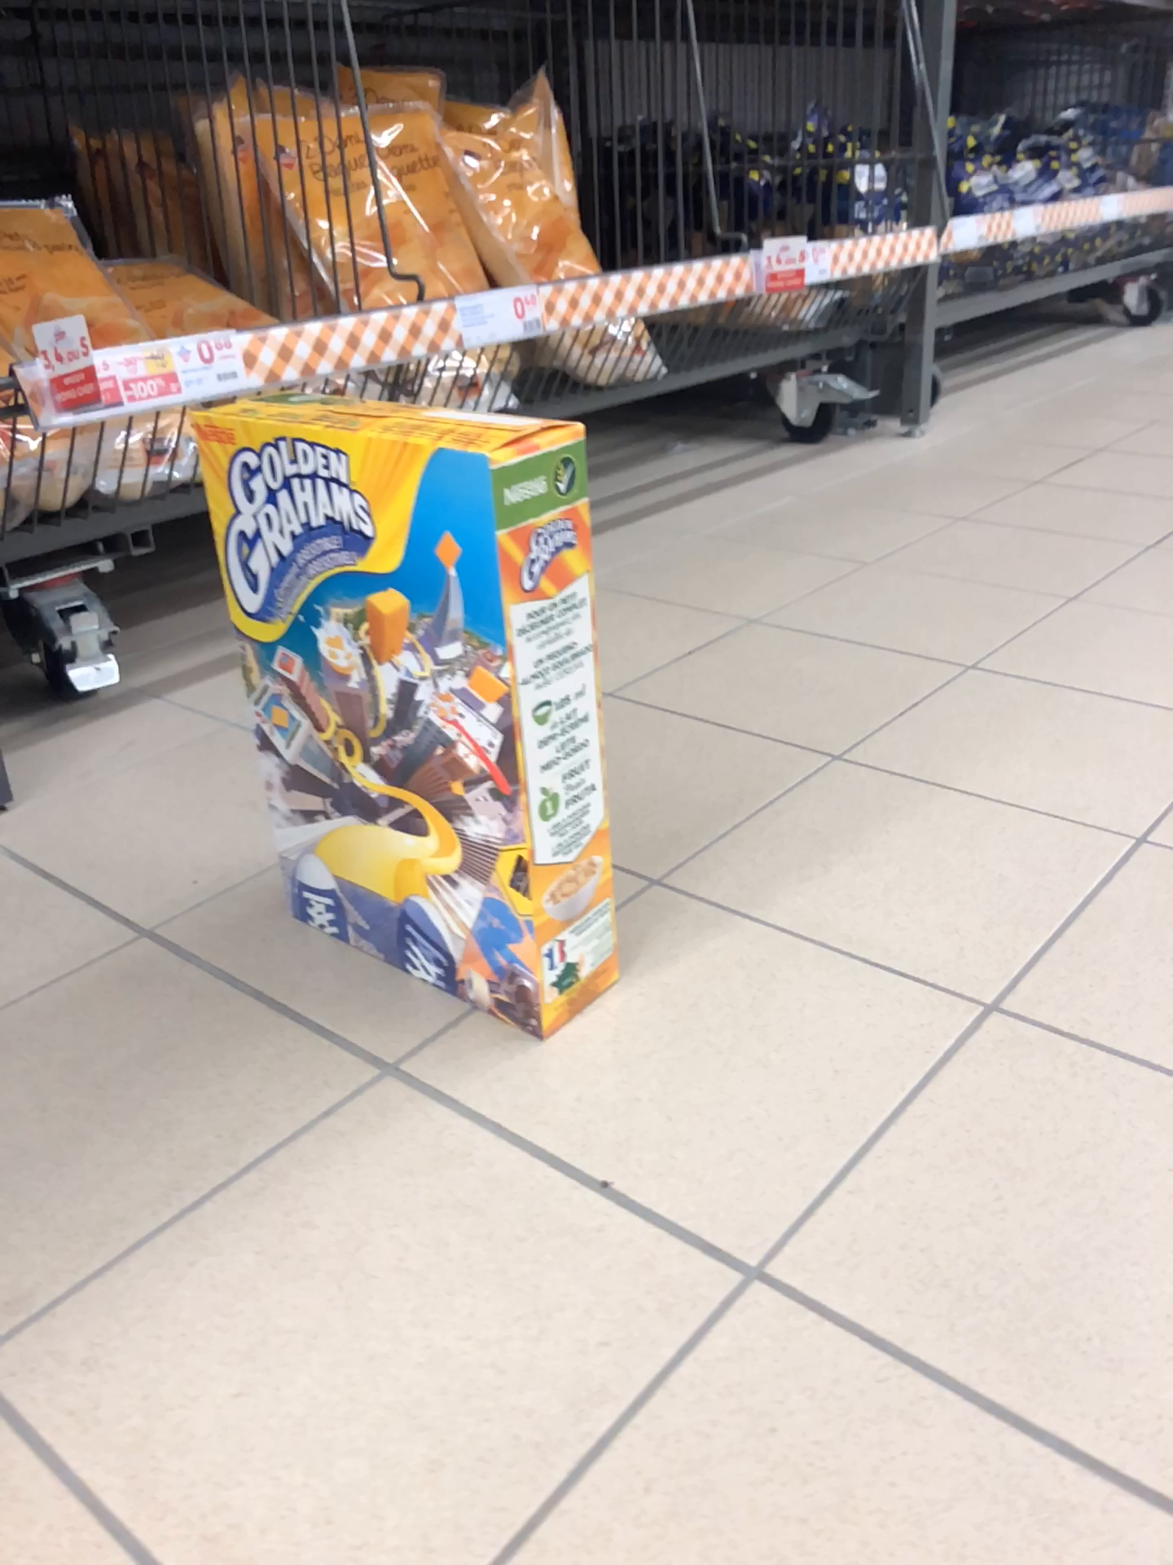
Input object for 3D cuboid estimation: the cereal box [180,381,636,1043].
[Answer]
[{"bbox_3d":[-0.080,-0.040,0.611,0.200,0.269,0.070,17,32,35],"label":"cereal box"}]
